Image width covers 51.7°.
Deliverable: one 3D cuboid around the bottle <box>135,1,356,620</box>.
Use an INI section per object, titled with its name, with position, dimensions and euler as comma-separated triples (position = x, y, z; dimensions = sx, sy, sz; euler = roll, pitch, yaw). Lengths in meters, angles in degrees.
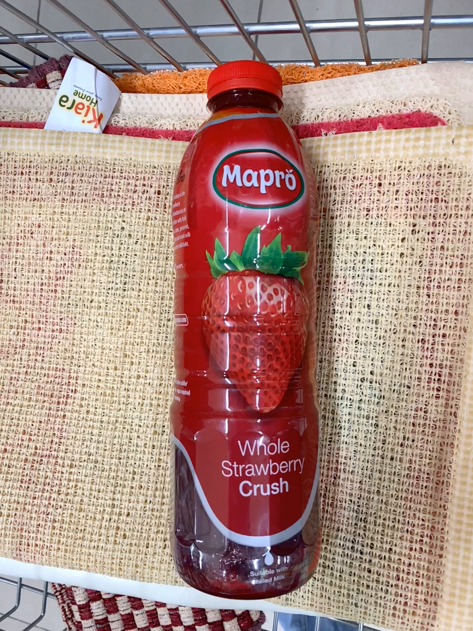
[bottle]
position = -0.003, 0.001, 0.240
dimensions = 0.090, 0.070, 0.250
euler = 1, 93, -11
